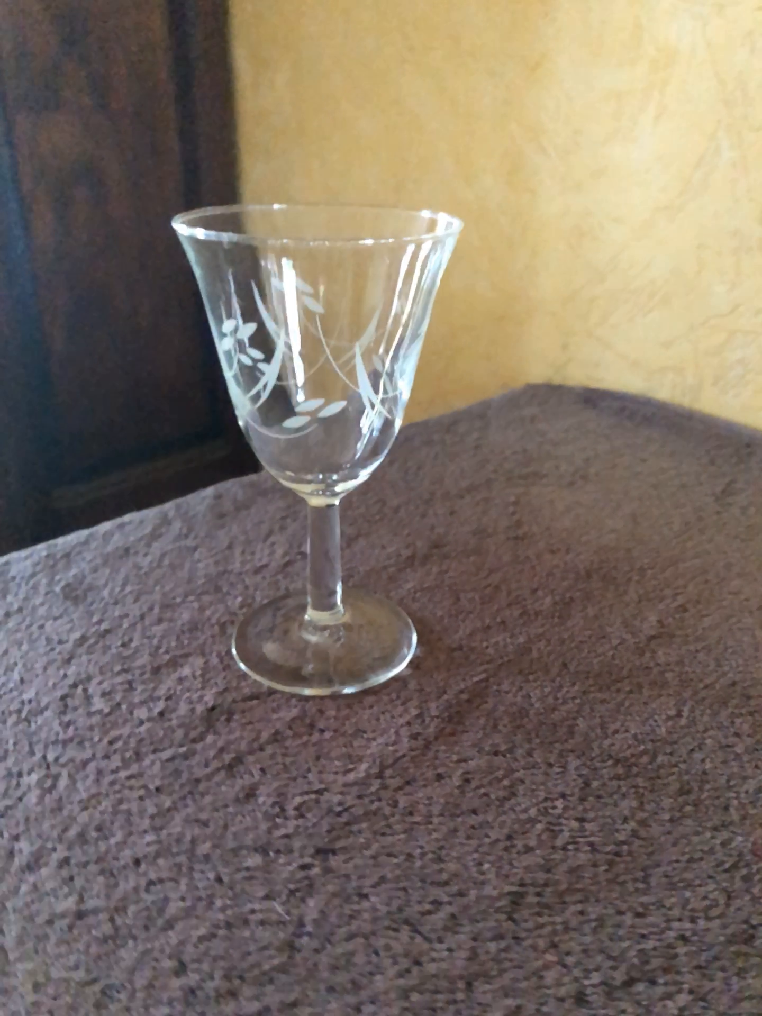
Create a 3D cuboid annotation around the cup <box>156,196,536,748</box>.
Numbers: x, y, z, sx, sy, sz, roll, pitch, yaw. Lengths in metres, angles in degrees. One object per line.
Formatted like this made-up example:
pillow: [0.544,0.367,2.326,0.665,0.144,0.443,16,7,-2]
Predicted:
cup: [-0.016,-0.019,0.281,0.090,0.149,0.090,0,25,0]
